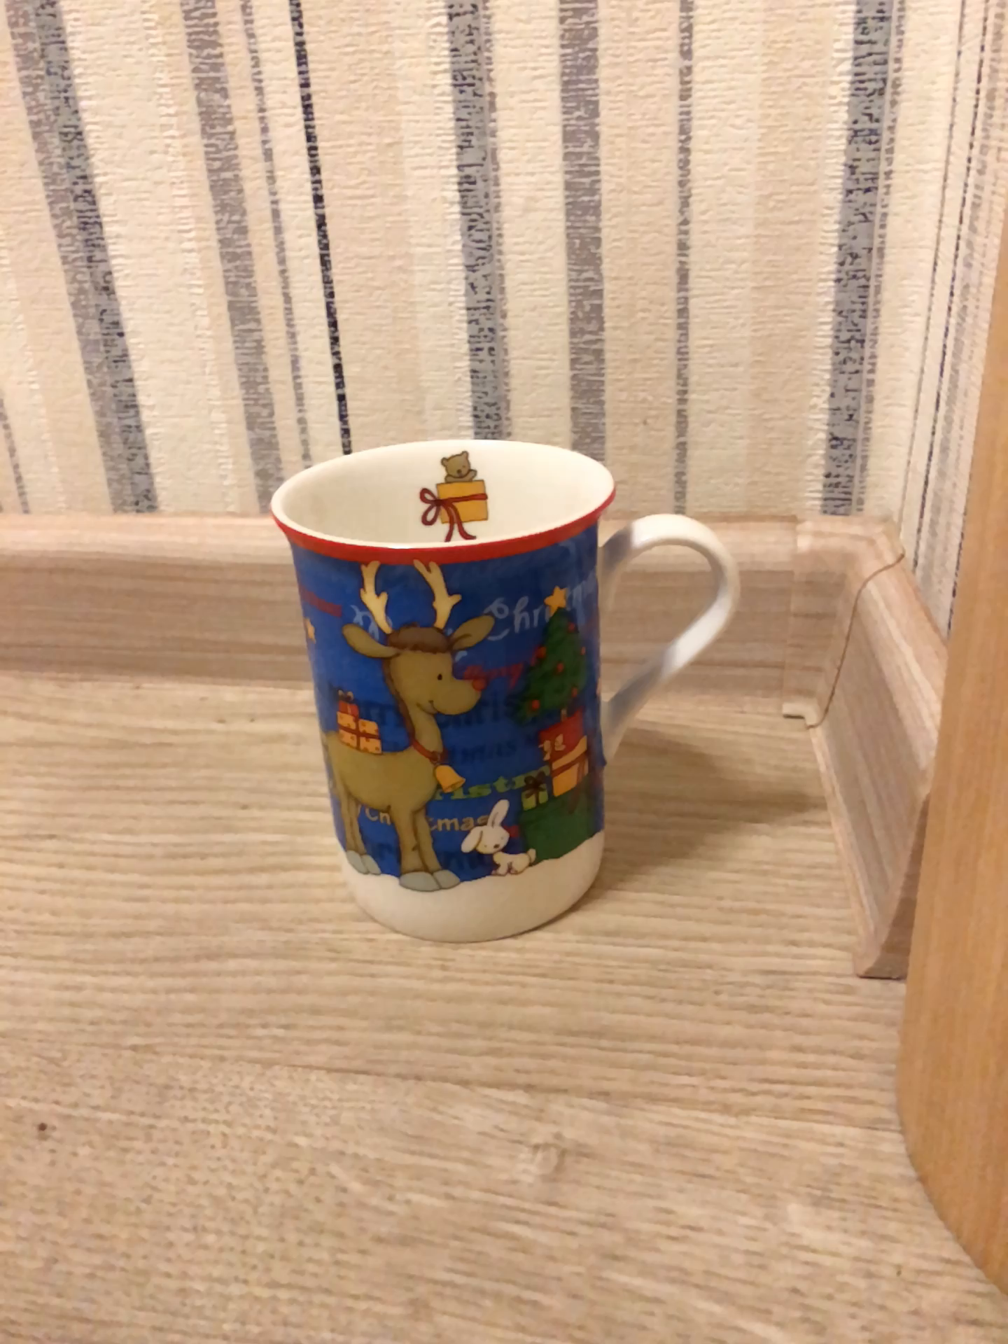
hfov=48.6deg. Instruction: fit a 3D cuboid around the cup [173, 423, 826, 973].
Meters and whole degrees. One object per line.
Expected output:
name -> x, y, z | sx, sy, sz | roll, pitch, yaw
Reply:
cup -> 0.001, 0.001, 0.265 | 0.120, 0.094, 0.088 | -3, 25, 0
